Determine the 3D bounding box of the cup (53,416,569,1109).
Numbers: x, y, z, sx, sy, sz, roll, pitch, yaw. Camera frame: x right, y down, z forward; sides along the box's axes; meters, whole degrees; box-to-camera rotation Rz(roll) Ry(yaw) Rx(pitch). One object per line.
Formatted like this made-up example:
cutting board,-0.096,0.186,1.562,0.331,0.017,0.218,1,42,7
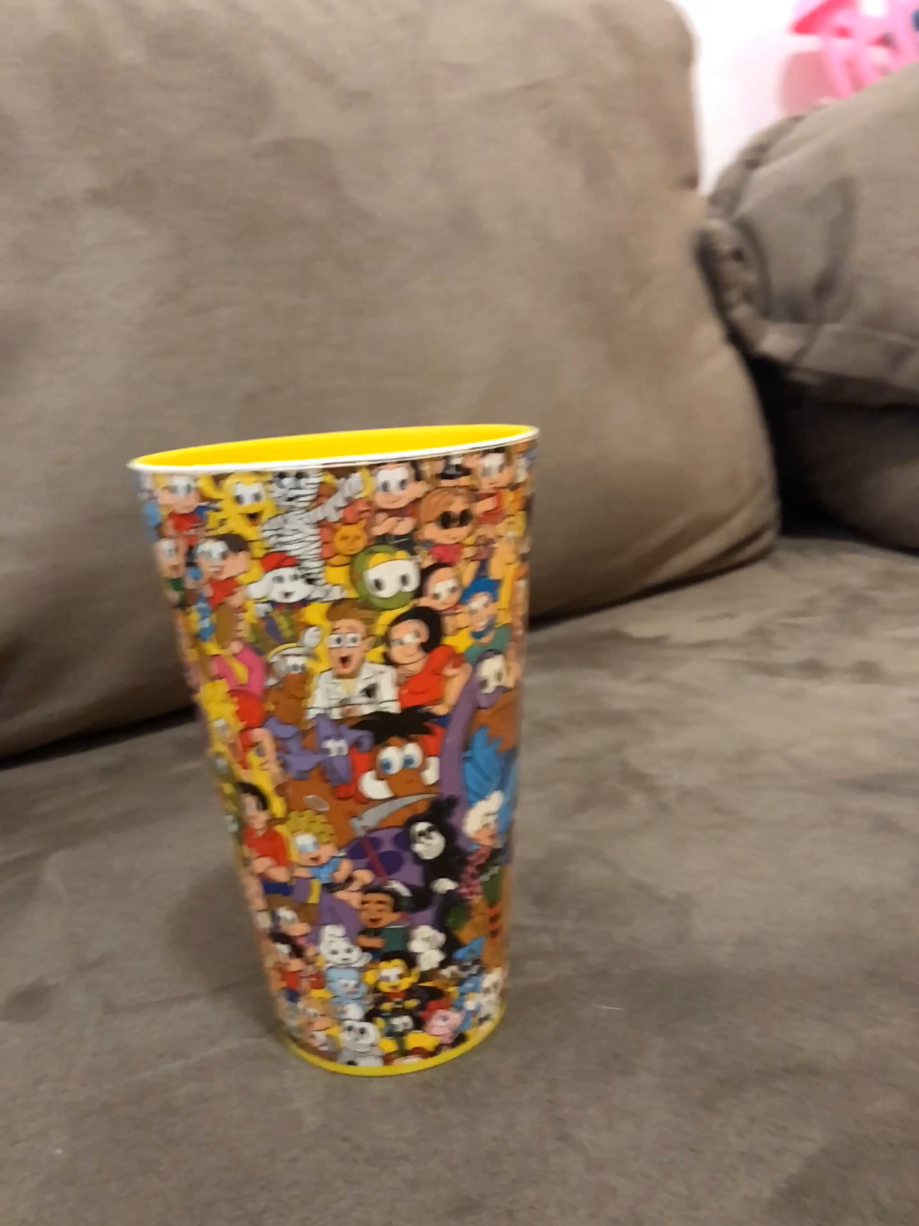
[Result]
cup,-0.028,0.027,0.258,0.090,0.139,0.090,-5,13,1
